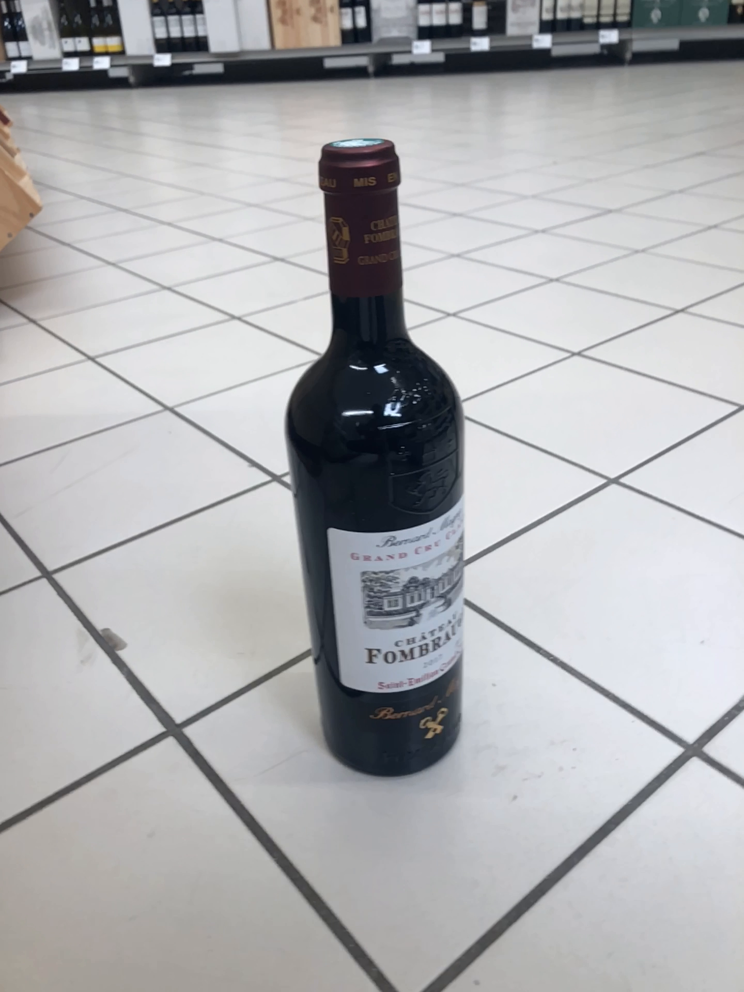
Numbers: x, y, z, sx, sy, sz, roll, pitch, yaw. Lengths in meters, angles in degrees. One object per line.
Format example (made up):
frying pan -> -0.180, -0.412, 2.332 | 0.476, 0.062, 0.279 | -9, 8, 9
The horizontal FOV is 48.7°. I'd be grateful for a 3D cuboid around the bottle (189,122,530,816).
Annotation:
bottle -> 0.001, -0.005, 0.373 | 0.090, 0.288, 0.090 | -3, 30, 1
